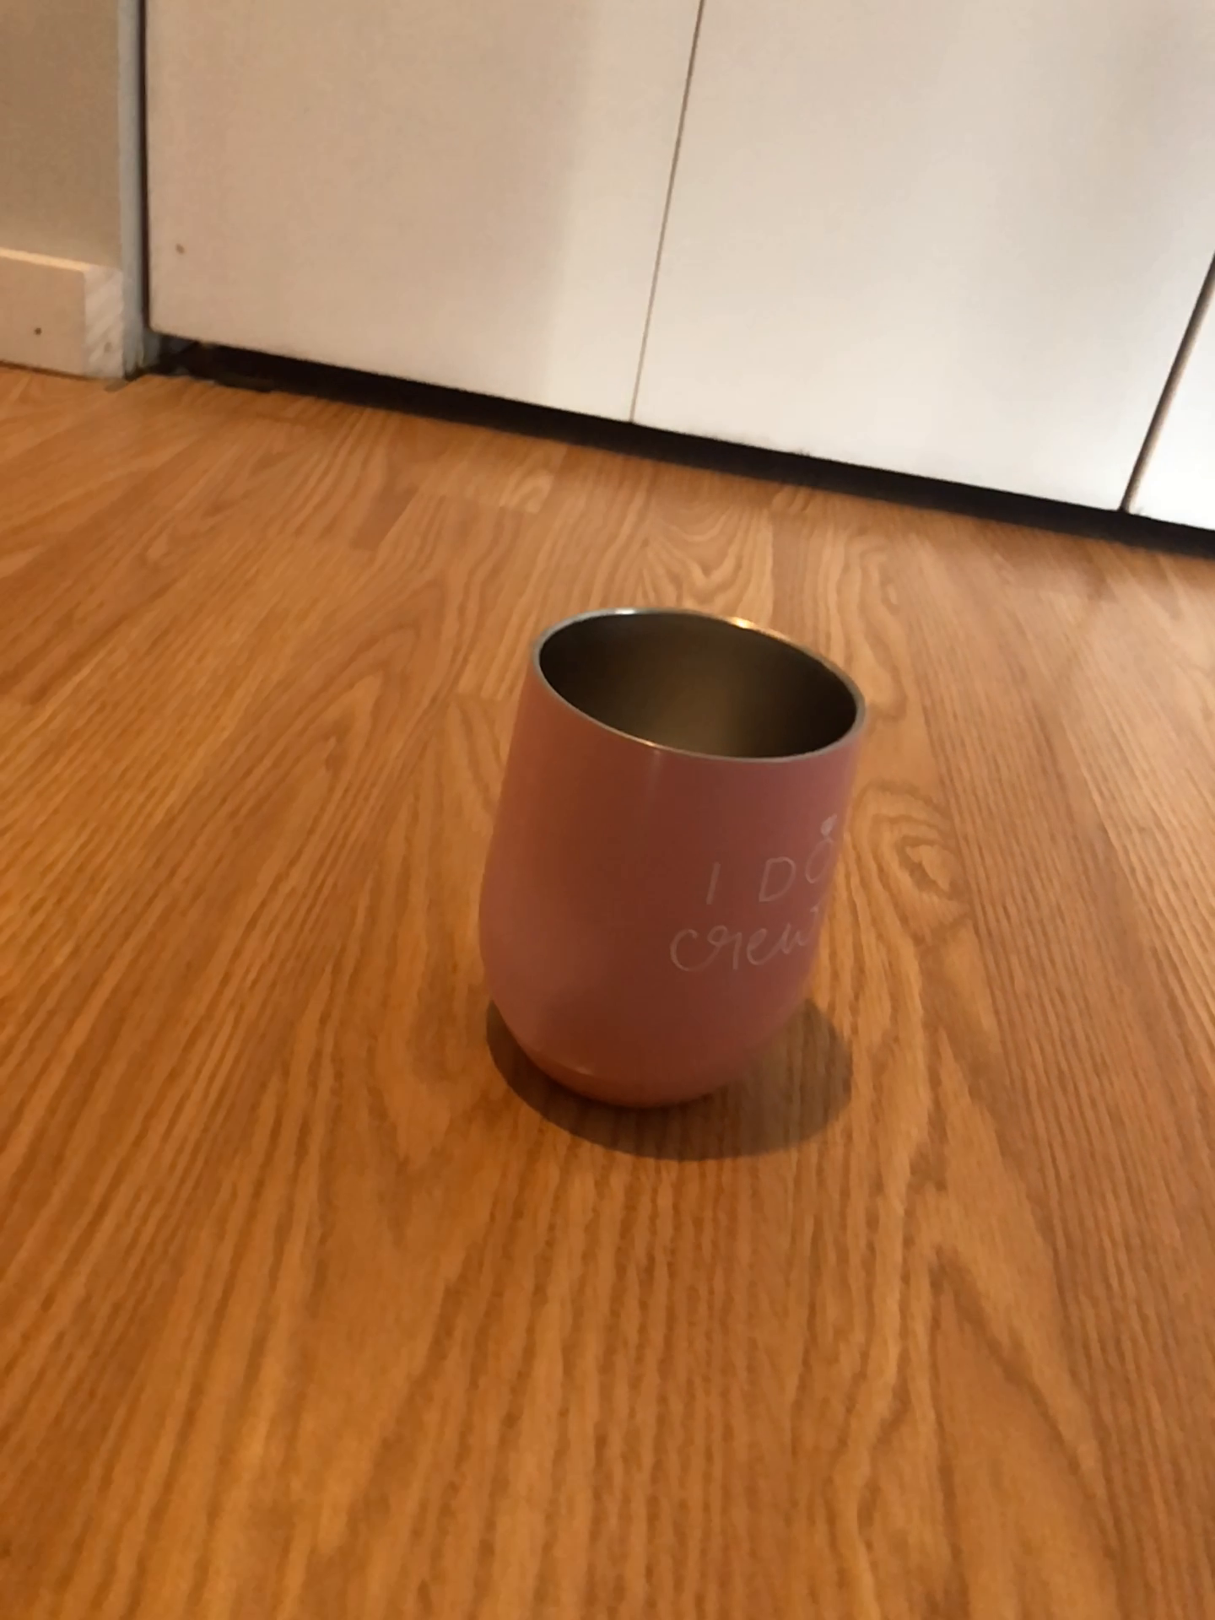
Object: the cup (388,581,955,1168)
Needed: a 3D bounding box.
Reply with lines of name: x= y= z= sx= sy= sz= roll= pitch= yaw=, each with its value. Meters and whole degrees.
cup: x=0.008 y=0.010 z=0.332 sx=0.090 sy=0.100 sz=0.090 roll=8 pitch=30 yaw=-5
